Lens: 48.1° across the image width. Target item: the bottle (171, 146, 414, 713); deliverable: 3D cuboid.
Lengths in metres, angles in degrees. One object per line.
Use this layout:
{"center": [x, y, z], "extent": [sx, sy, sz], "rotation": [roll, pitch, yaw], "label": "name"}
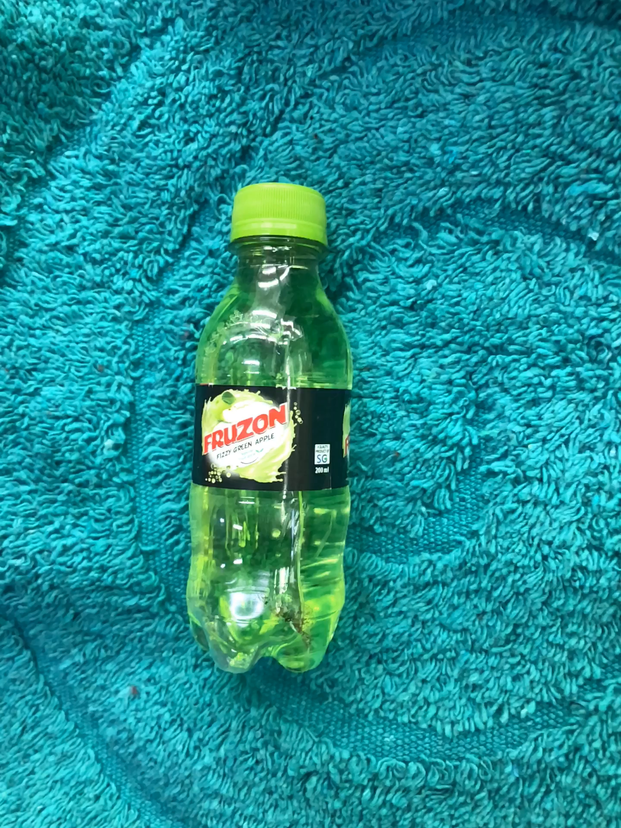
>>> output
{"center": [-0.005, 0.003, 0.229], "extent": [0.060, 0.050, 0.160], "rotation": [4, 94, 21], "label": "bottle"}
